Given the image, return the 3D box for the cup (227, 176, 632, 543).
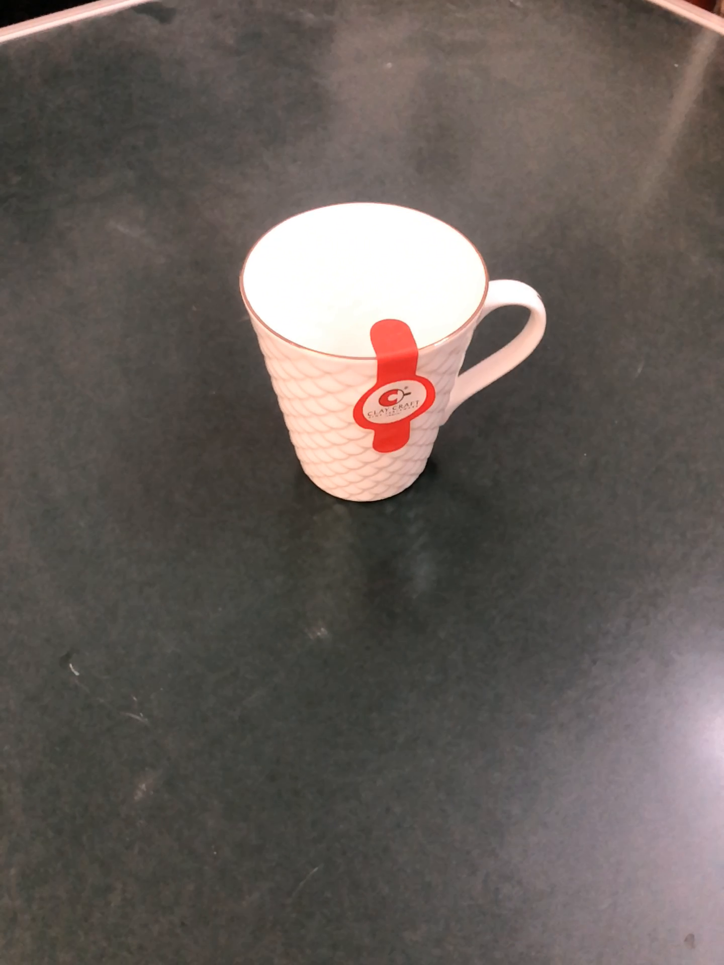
[{"bbox_3d":[0.020,-0.047,0.312,0.120,0.090,0.080,-12,53,-9],"label":"cup"}]
